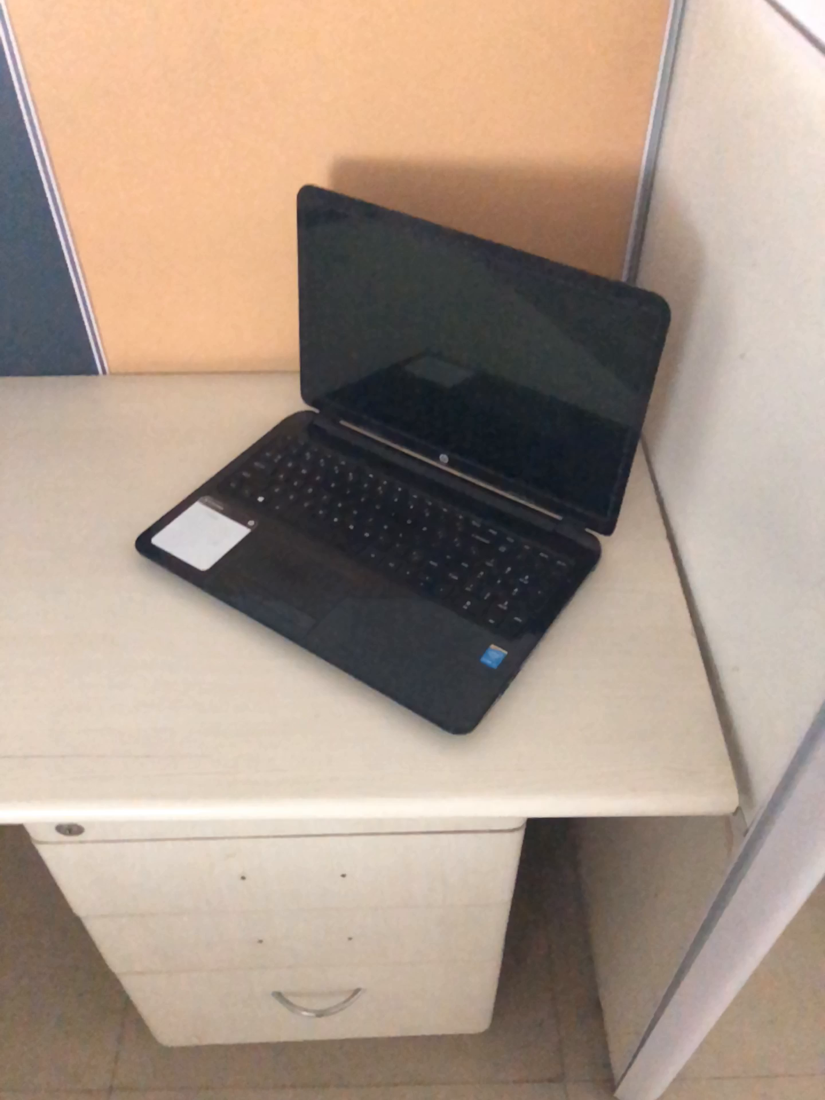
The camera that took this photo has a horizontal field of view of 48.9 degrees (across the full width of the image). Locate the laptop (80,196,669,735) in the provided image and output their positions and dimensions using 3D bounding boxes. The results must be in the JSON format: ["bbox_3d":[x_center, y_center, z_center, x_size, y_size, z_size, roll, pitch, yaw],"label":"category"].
[{"bbox_3d":[-0.027,-0.089,0.763,0.351,0.226,0.266,27,53,24],"label":"laptop"}]
